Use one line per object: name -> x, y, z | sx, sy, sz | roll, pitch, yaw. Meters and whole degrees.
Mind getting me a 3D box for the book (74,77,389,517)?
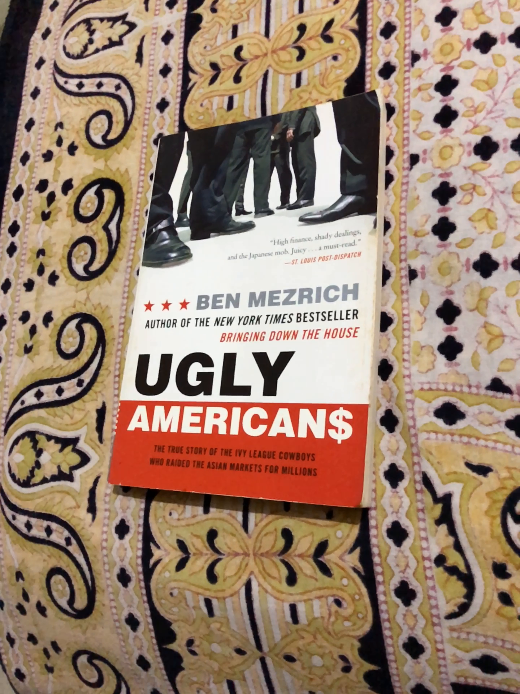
book -> -0.013, -0.023, 0.282 | 0.140, 0.030, 0.190 | -2, 75, 27
